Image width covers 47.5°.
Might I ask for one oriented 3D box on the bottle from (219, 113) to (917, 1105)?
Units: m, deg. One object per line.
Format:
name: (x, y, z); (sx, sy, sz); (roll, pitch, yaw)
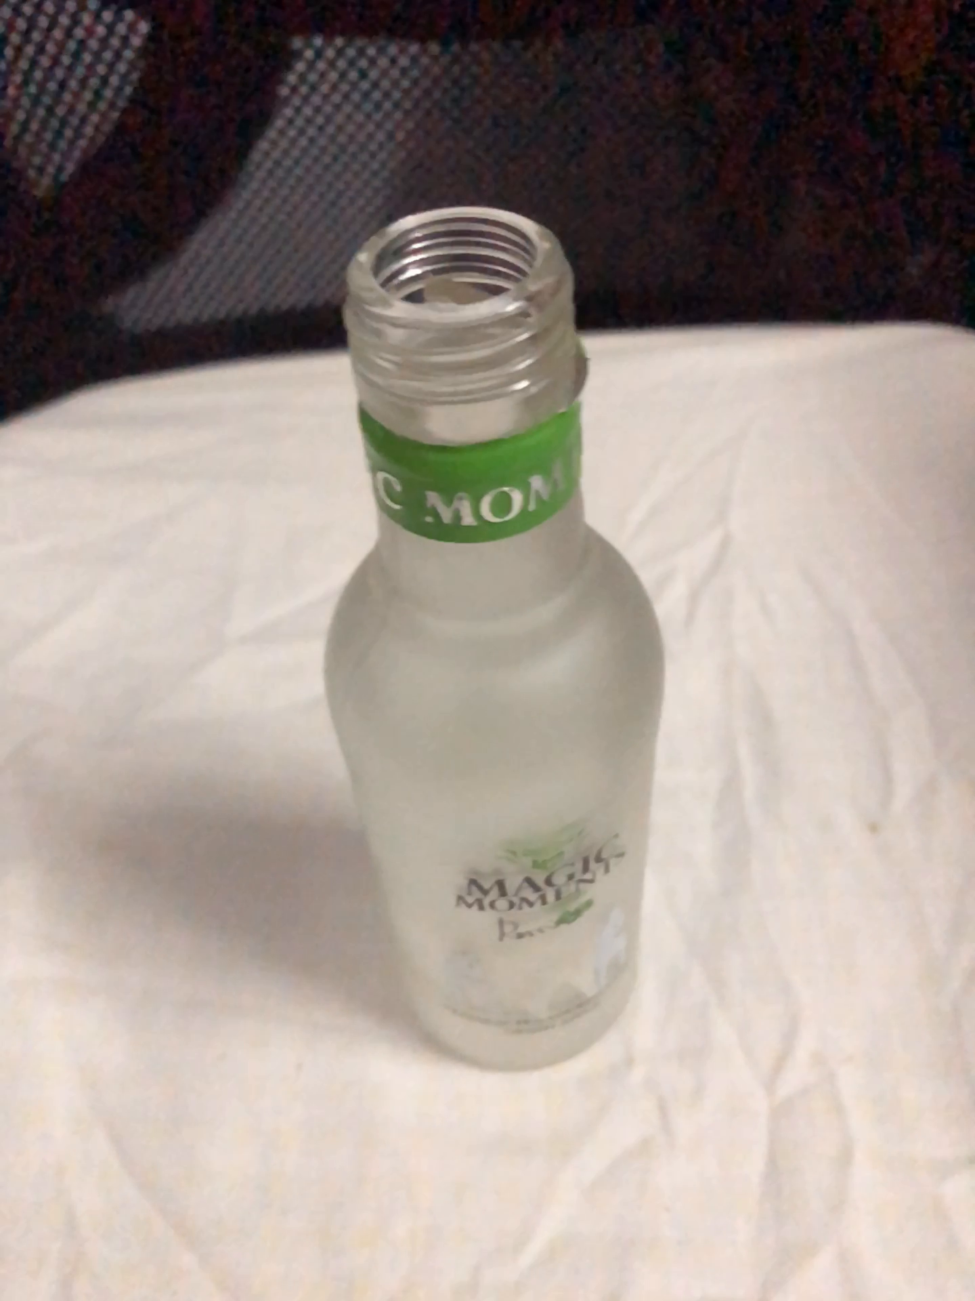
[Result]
bottle: (0.008, 0.014, 0.178); (0.060, 0.169, 0.050); (-11, 51, -6)
